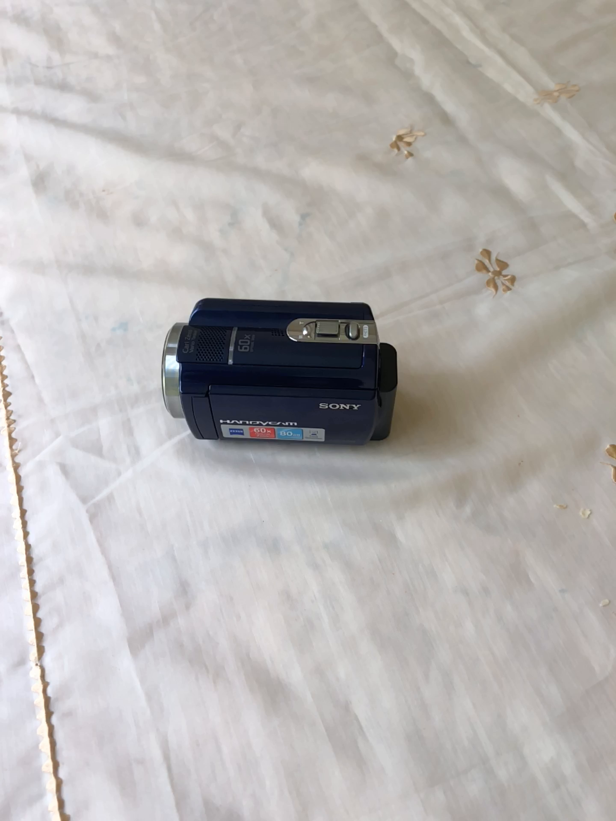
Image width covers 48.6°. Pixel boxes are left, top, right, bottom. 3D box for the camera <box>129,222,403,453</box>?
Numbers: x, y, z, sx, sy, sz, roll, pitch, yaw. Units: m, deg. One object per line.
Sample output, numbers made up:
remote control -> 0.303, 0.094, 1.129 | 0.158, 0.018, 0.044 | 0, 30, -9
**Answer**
camera -> -0.015, -0.038, 0.349 | 0.119, 0.070, 0.090 | 2, 55, 3
